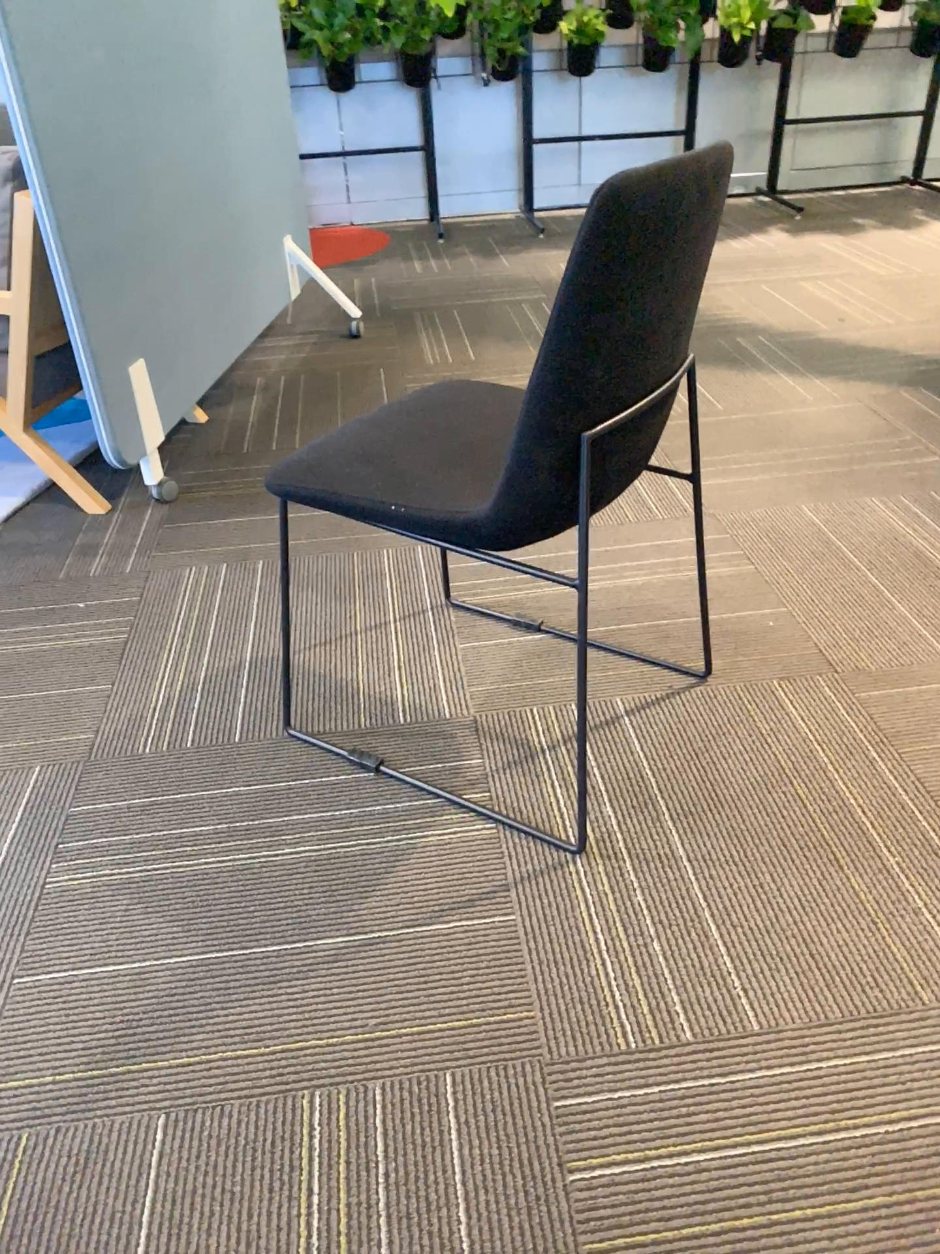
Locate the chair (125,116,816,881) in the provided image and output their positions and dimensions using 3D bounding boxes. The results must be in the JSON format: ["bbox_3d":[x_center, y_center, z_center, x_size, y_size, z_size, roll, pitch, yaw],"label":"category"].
[{"bbox_3d":[0.030,-0.209,1.235,0.572,0.745,0.491,17,38,29],"label":"chair"}]
